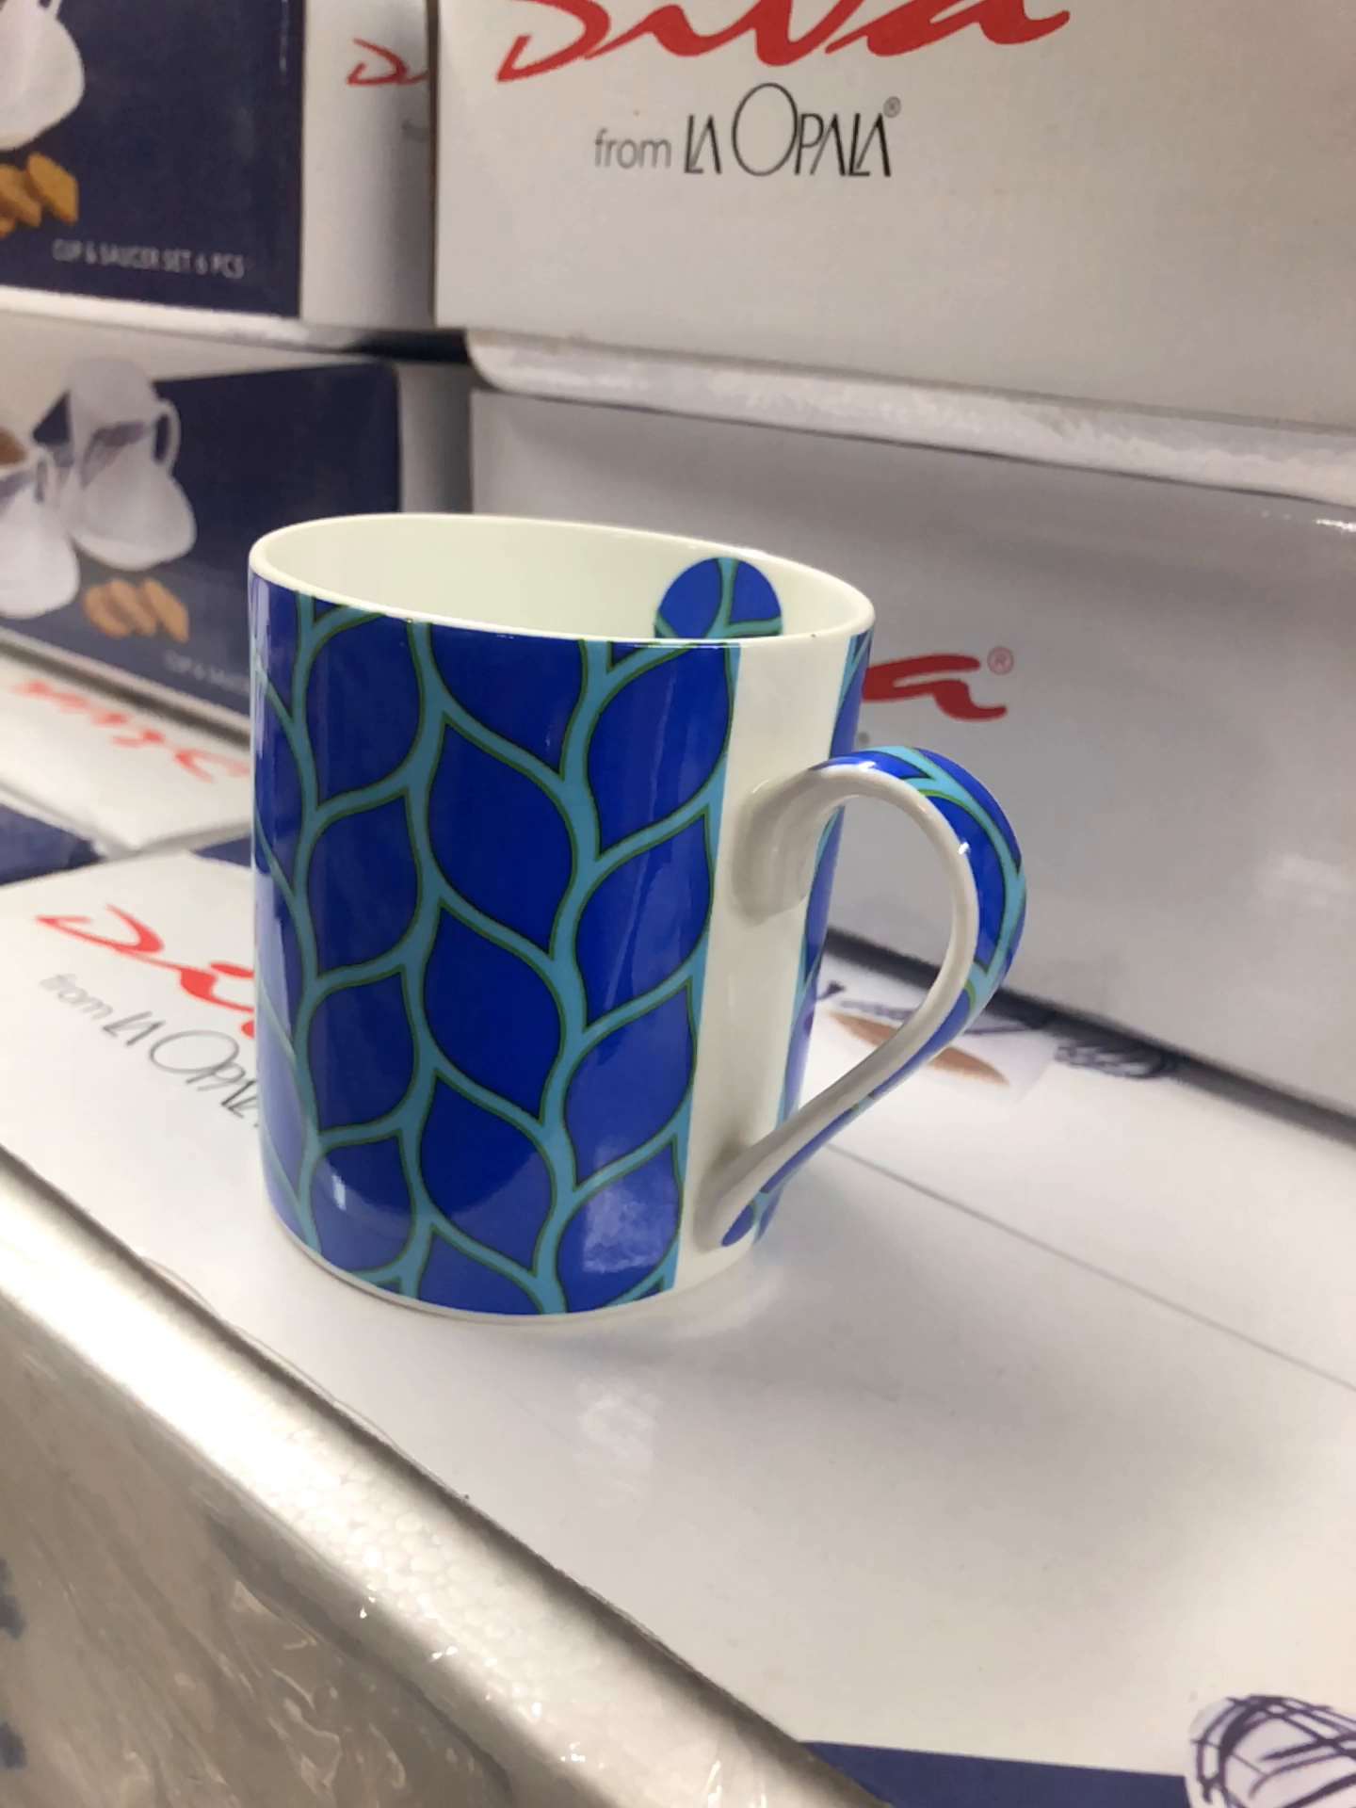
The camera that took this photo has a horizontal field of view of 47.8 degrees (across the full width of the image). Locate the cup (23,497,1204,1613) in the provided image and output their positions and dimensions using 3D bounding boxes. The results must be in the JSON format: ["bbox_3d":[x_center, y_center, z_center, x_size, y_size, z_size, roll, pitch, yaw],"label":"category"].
[{"bbox_3d":[-0.012,0.003,0.202,0.120,0.090,0.080,20,26,33],"label":"cup"}]
